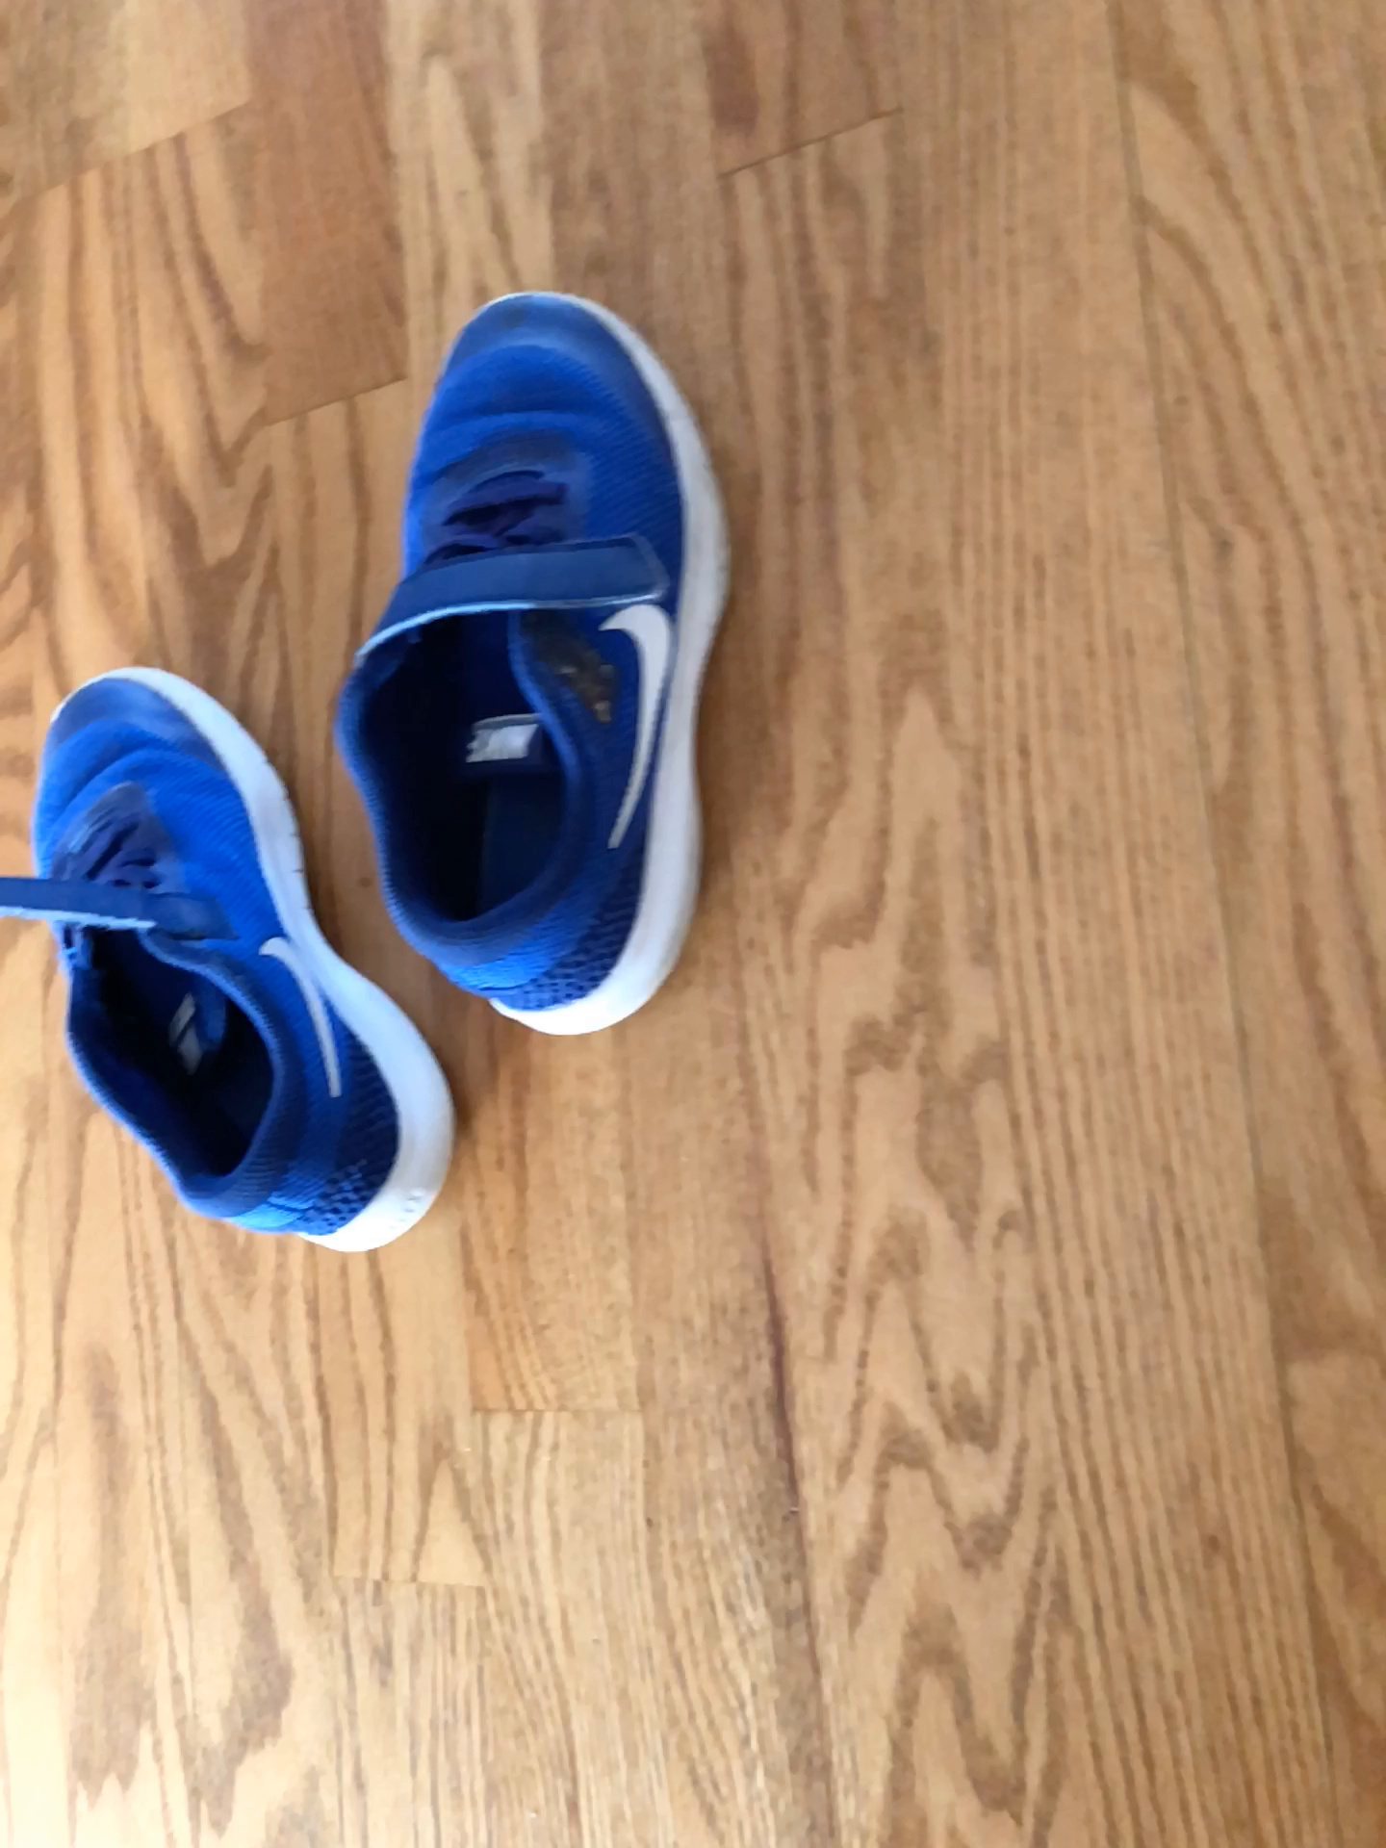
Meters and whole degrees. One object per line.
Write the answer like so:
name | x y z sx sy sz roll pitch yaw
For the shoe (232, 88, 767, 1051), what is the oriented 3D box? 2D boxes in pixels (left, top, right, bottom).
shoe | -0.049 -0.078 0.400 0.093 0.092 0.214 -7 82 25

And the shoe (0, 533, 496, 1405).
shoe | -0.165 0.010 0.441 0.093 0.092 0.214 -38 71 18
